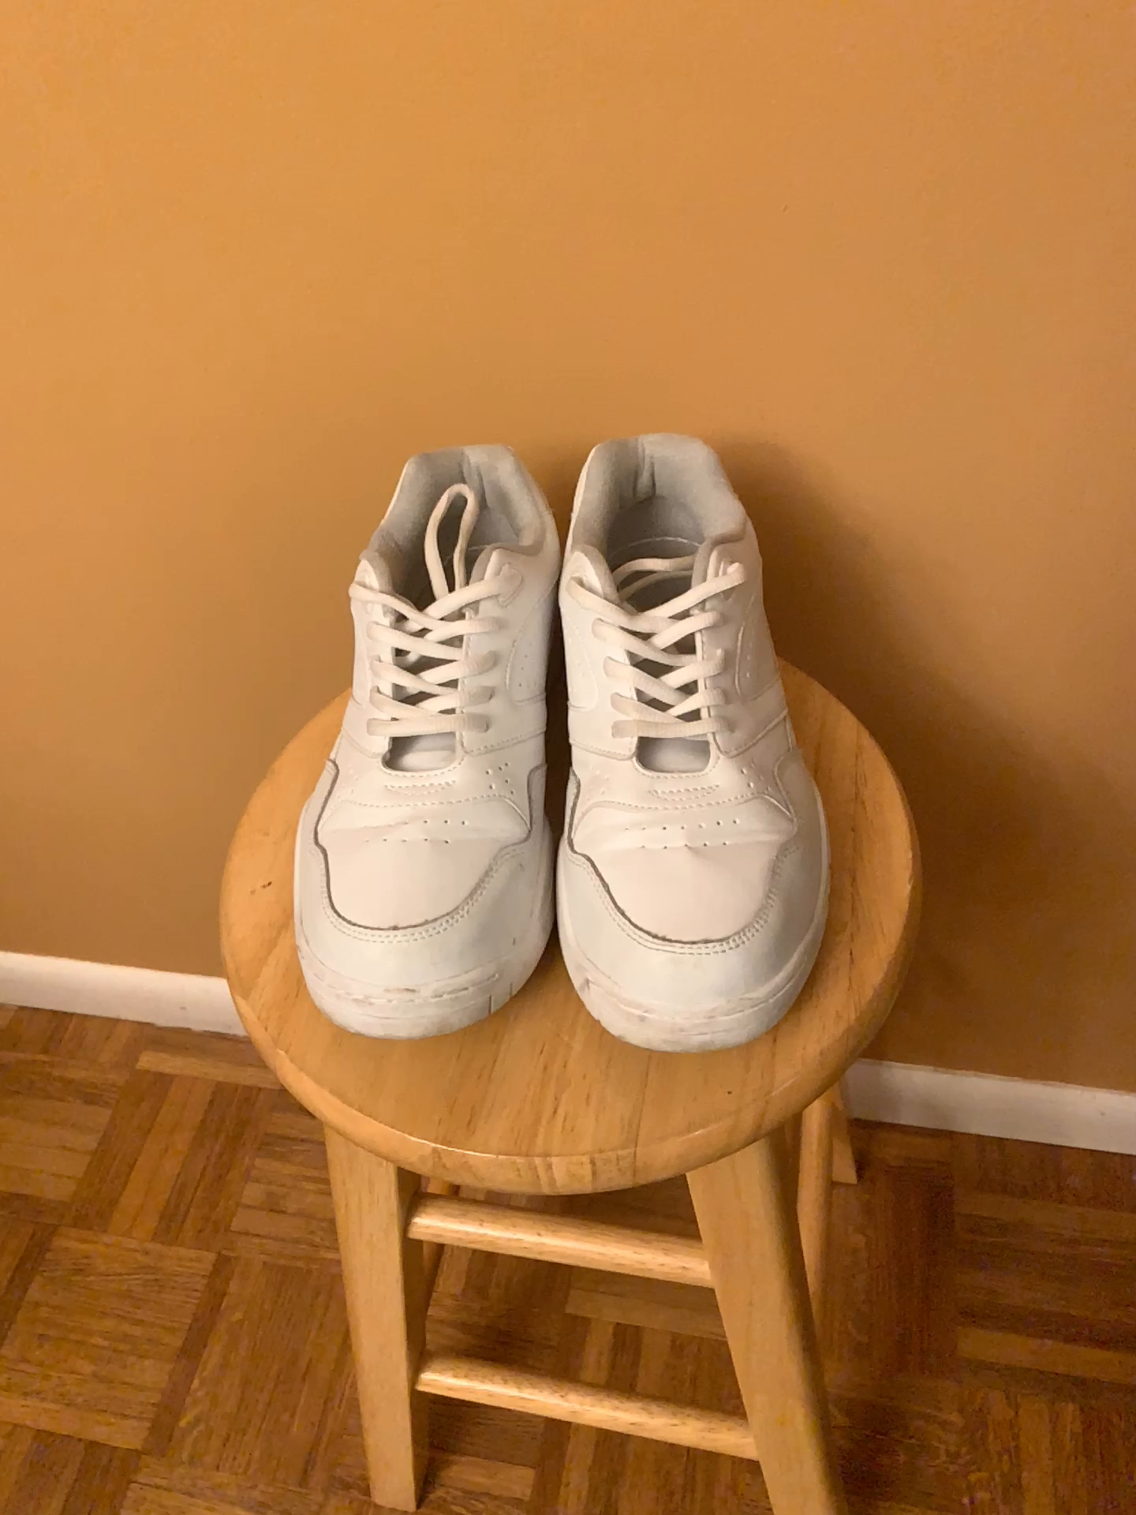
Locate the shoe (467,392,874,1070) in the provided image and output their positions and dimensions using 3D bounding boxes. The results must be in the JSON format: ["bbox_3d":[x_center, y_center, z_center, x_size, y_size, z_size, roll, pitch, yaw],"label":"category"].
[{"bbox_3d":[0.030,-0.026,0.478,0.120,0.109,0.271,-5,46,2],"label":"shoe"}]

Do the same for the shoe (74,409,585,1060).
[{"bbox_3d":[-0.073,-0.025,0.491,0.130,0.109,0.271,1,46,7],"label":"shoe"}]
